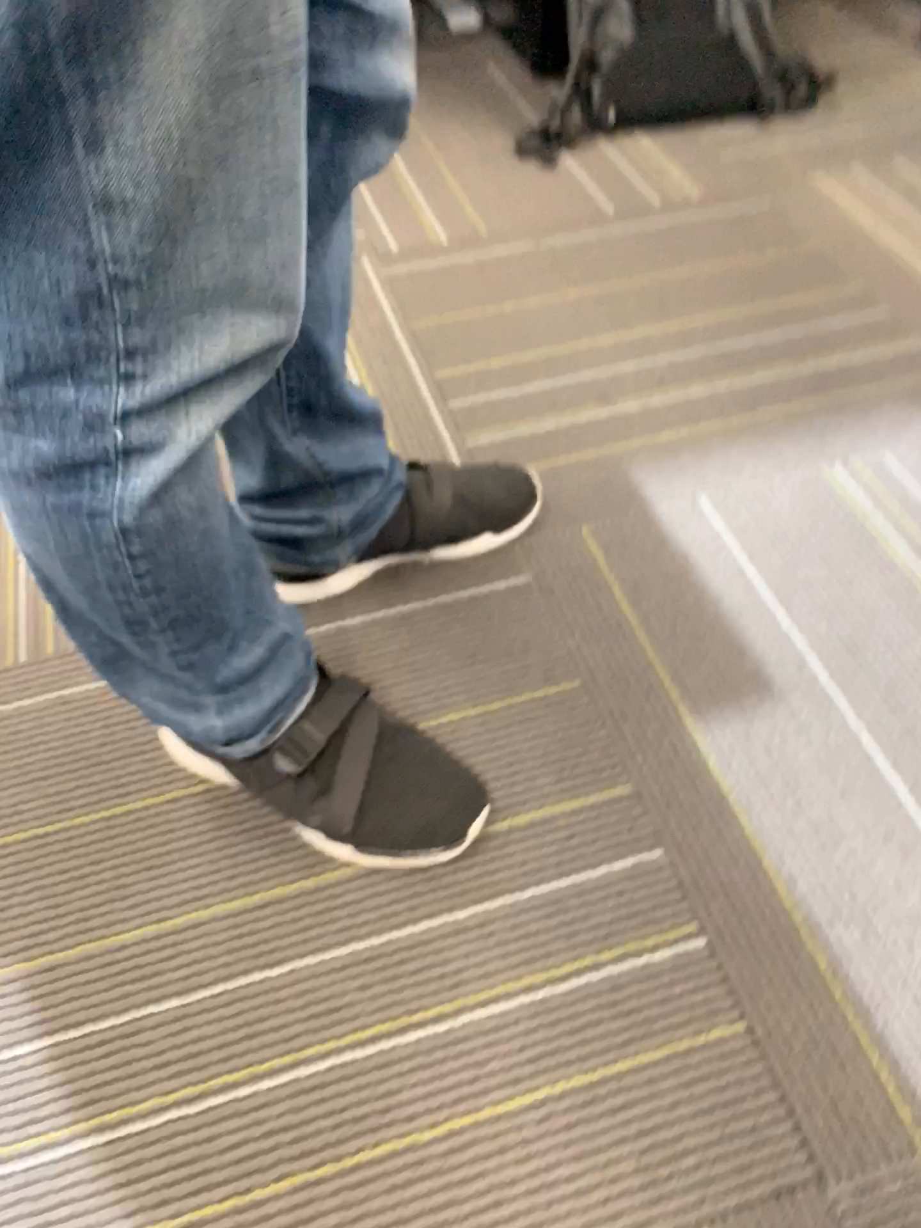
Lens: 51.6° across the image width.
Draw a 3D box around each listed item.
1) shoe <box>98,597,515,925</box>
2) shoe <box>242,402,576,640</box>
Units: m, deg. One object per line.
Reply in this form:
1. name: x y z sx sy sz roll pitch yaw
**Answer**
1. shoe: -0.118 0.111 0.765 0.301 0.109 0.121 20 53 19
2. shoe: -0.049 -0.097 0.962 0.300 0.119 0.121 -16 51 -11
